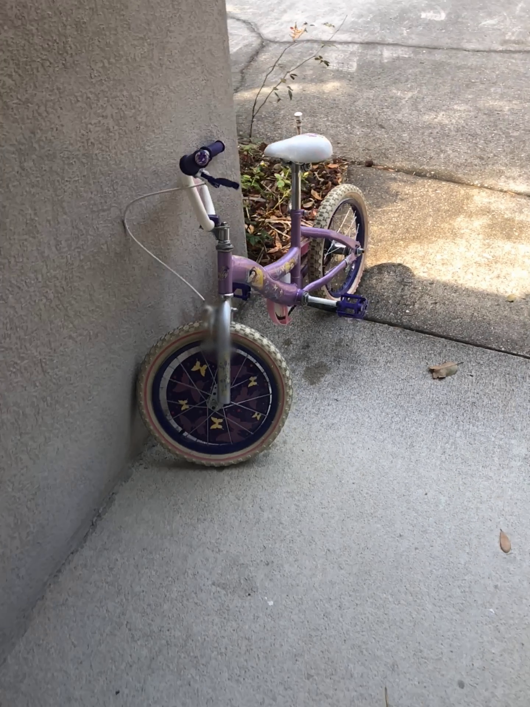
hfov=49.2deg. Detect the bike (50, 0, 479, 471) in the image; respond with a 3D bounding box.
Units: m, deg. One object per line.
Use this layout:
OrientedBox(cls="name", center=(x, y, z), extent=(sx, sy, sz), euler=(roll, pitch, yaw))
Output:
OrientedBox(cls="bike", center=(0.064, -0.362, 1.573), extent=(0.616, 0.816, 0.849), euler=(22, 51, 23))
